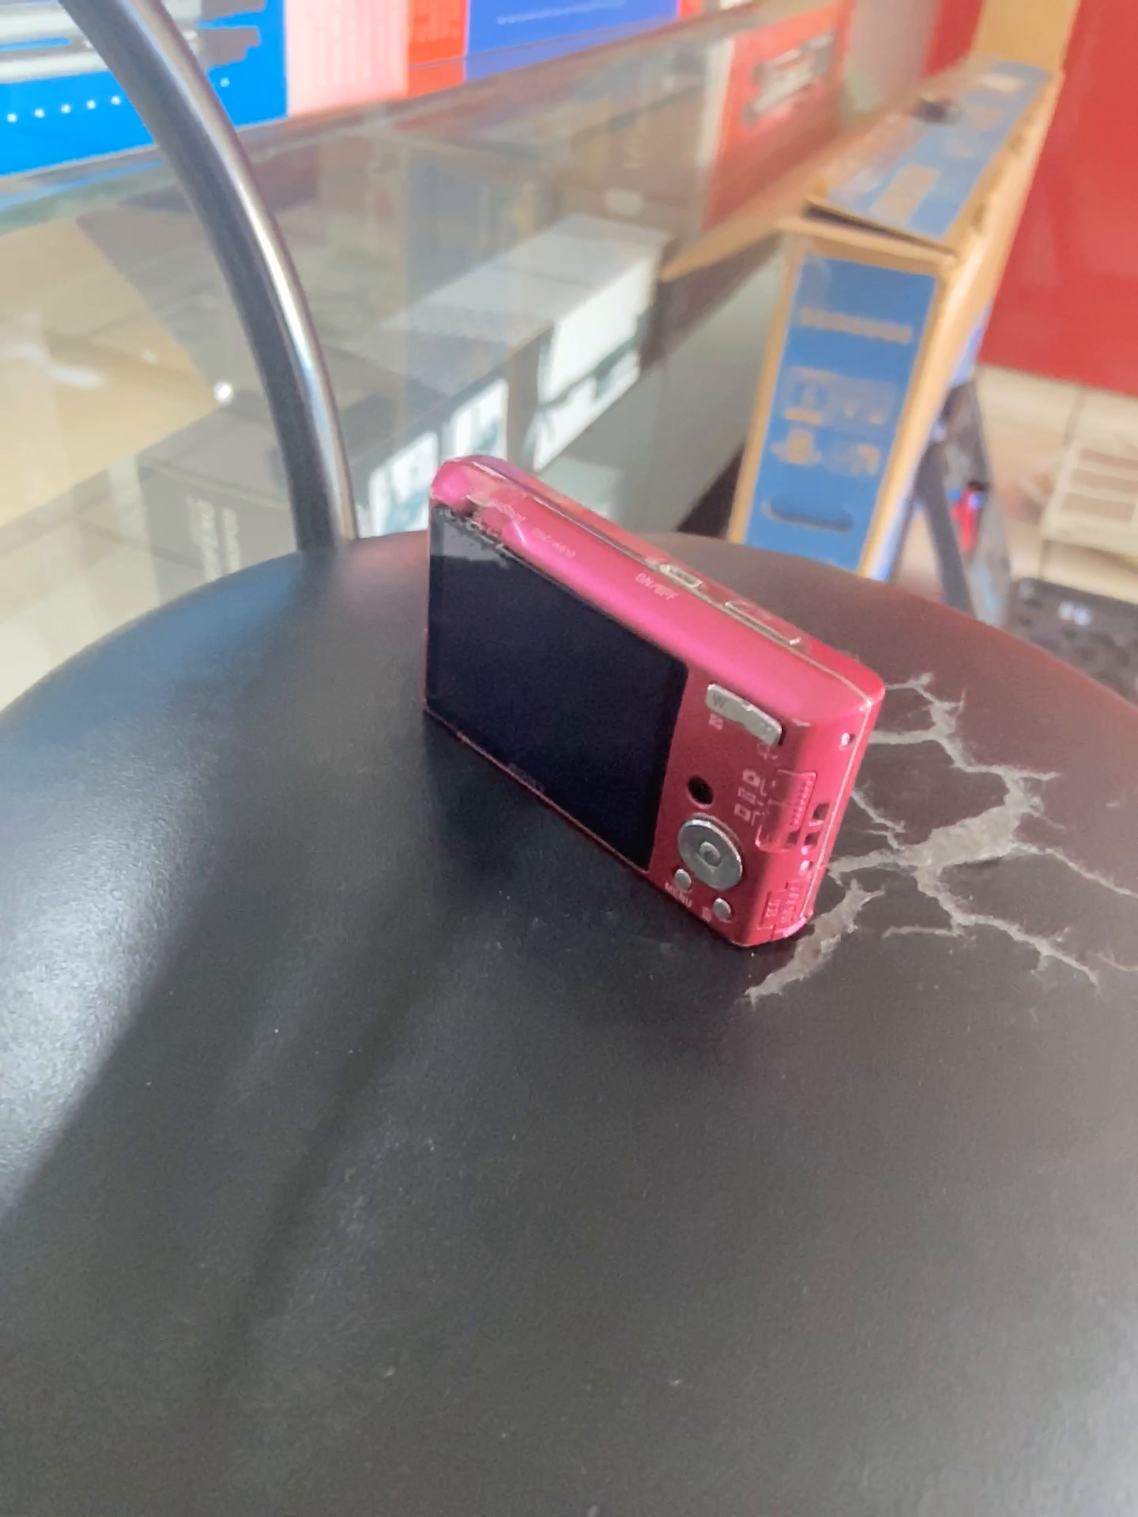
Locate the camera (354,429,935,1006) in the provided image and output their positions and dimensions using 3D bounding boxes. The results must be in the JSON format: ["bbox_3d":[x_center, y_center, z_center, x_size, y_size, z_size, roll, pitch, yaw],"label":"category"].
[{"bbox_3d":[0.005,-0.012,0.206,0.030,0.050,0.100,-28,51,-36],"label":"camera"}]
